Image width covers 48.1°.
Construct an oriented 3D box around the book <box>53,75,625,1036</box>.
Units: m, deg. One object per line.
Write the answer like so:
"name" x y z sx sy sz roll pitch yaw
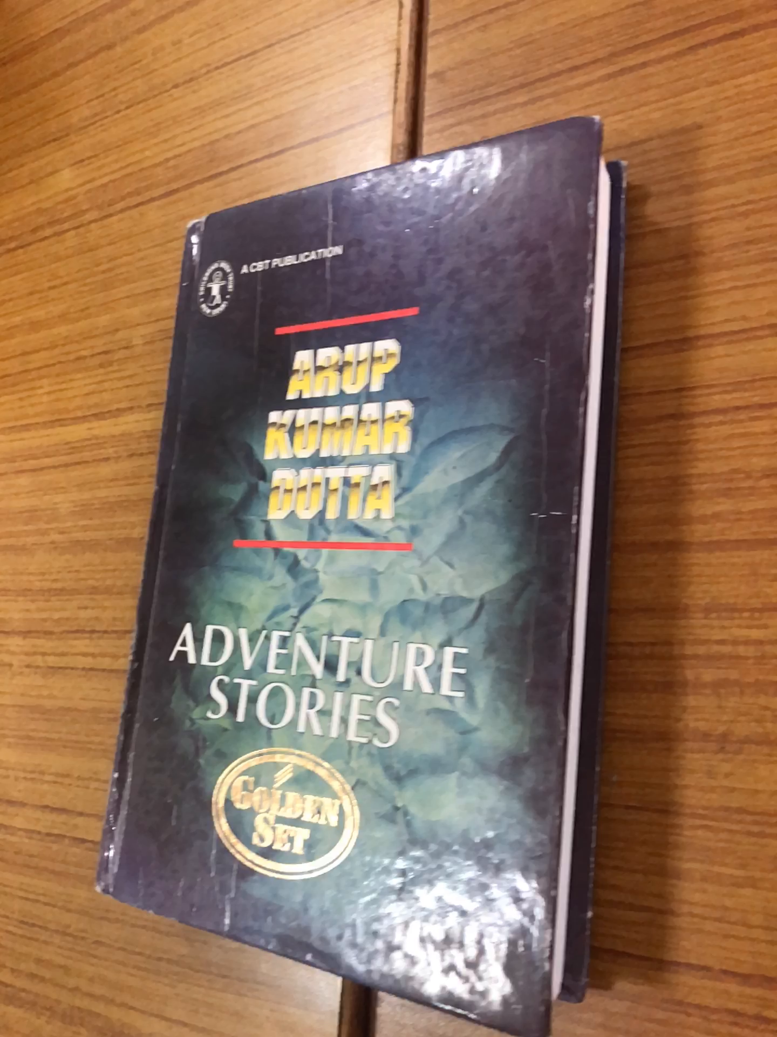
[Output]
"book" -0.016 0.009 0.239 0.146 0.036 0.218 -1 80 32
